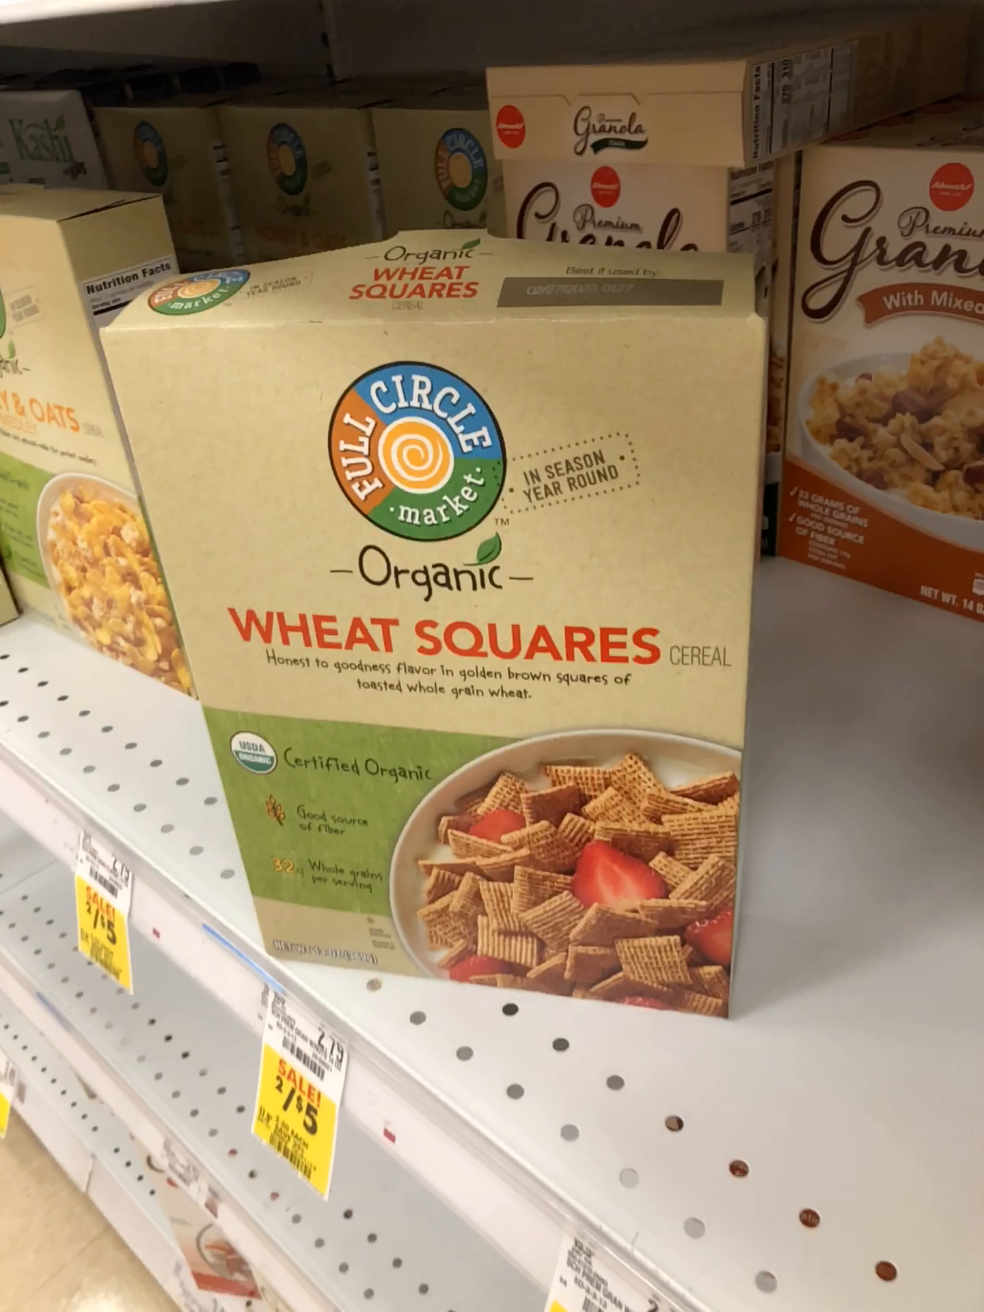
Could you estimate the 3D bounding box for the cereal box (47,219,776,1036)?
[{"bbox_3d":[-0.010,0.007,0.379,0.200,0.279,0.050,3,34,16],"label":"cereal box"}]
